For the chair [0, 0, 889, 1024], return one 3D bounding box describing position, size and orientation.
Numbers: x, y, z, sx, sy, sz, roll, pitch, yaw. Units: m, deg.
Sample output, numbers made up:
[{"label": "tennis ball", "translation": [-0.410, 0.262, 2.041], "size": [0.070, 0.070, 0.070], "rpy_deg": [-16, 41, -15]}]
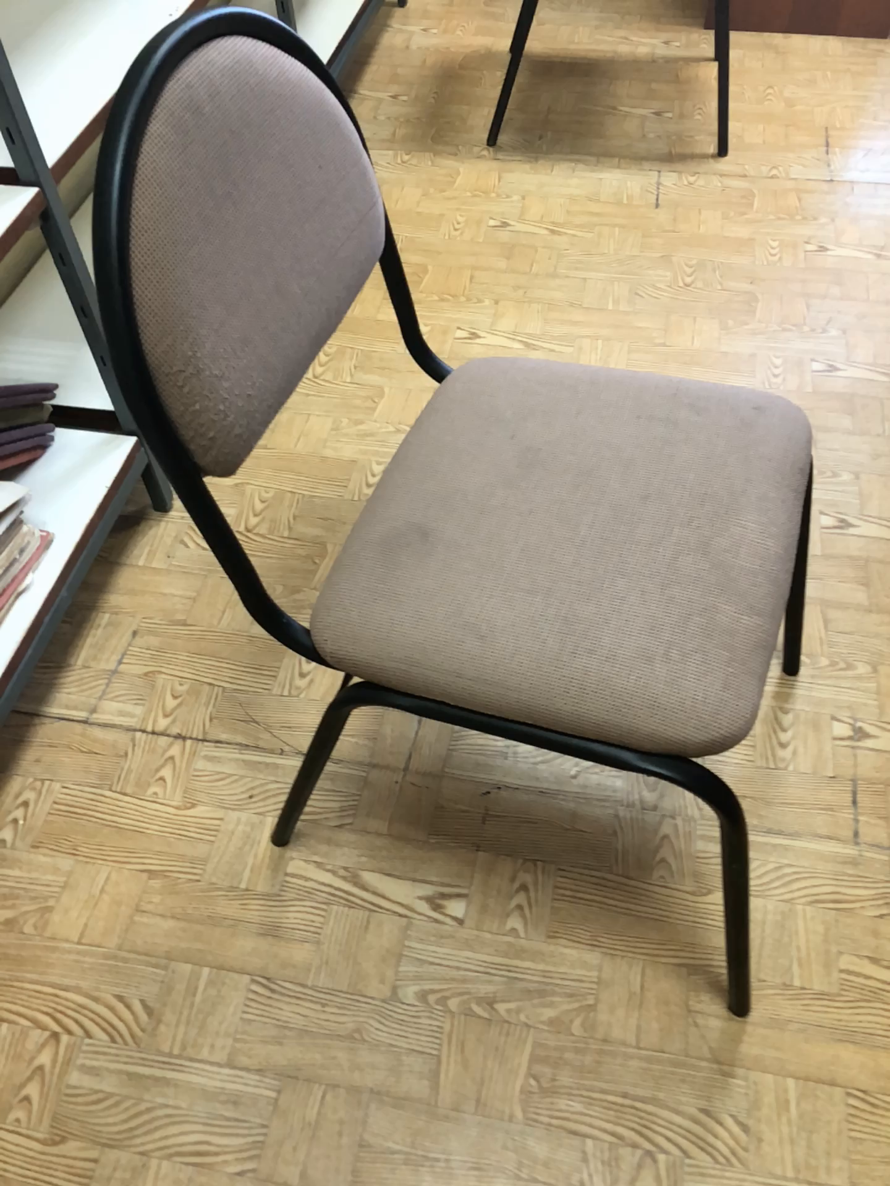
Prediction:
[{"label": "chair", "translation": [0.094, -0.064, 0.856], "size": [0.573, 0.768, 0.481], "rpy_deg": [15, 53, 13]}]
